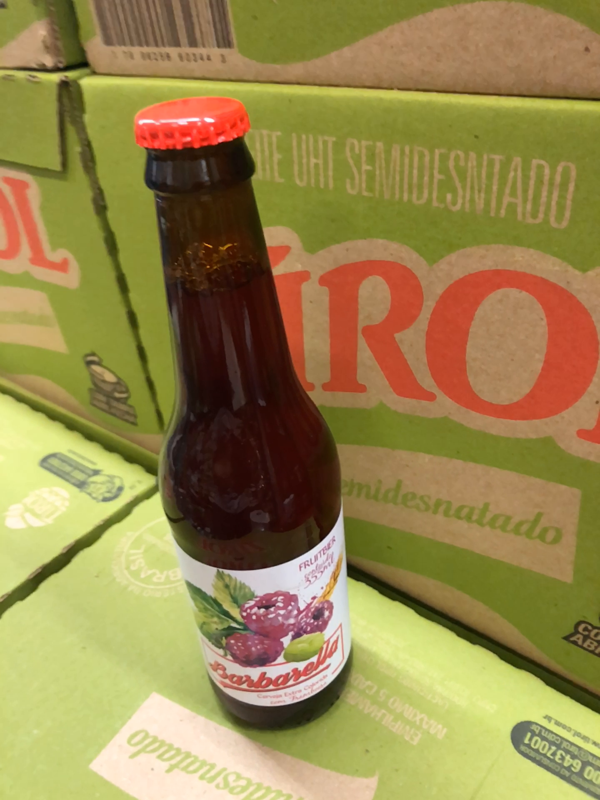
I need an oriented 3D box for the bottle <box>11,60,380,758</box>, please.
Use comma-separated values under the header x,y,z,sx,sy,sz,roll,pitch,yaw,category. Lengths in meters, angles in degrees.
x,y,z,sx,sy,sz,roll,pitch,yaw,category
-0.016,0.023,0.221,0.070,0.228,0.060,-8,35,-4,bottle
